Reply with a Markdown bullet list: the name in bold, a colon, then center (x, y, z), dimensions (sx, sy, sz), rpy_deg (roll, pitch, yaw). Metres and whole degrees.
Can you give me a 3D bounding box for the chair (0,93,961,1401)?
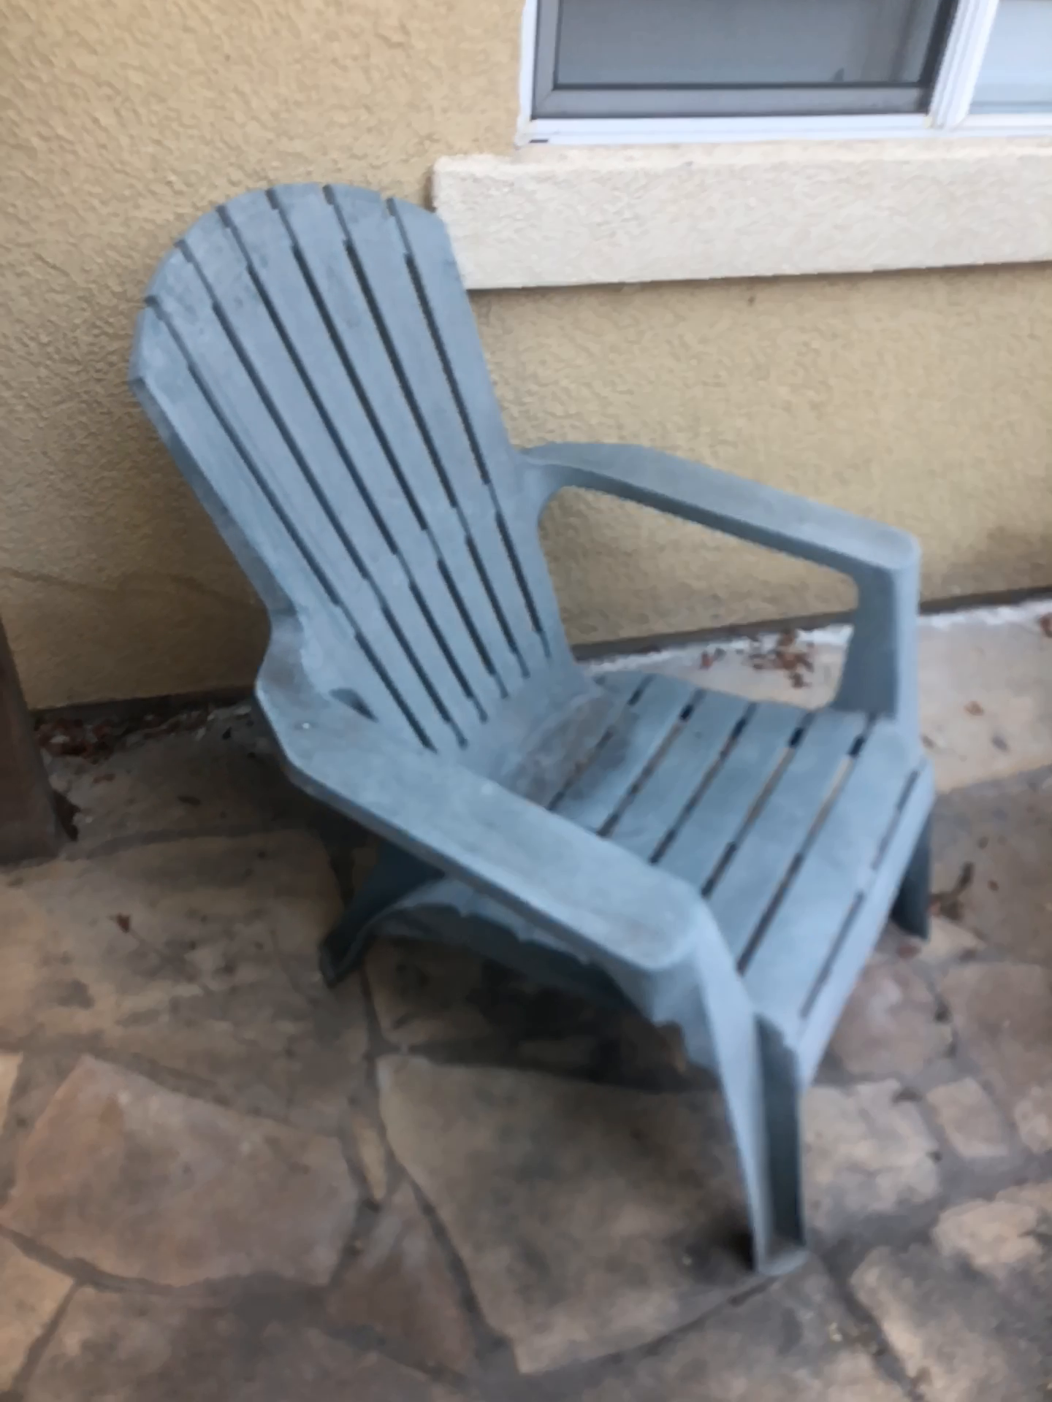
- **chair**: center (-0.127, 0.022, 1.385), dimensions (0.910, 1.220, 0.747), rpy_deg (16, 40, 24)
